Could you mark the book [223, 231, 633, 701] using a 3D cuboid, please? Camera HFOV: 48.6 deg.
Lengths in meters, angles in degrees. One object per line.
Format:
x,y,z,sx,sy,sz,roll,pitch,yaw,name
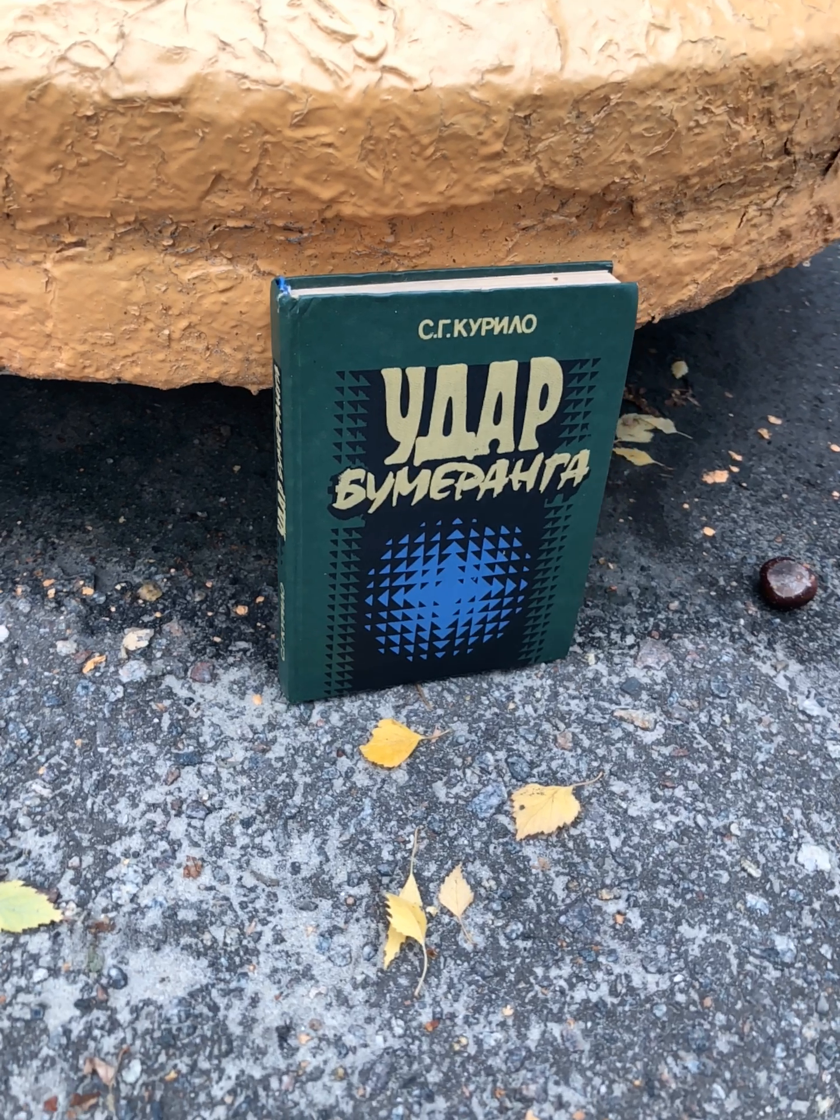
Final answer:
0.002,-0.028,0.359,0.131,0.178,0.029,-9,40,-12,book
